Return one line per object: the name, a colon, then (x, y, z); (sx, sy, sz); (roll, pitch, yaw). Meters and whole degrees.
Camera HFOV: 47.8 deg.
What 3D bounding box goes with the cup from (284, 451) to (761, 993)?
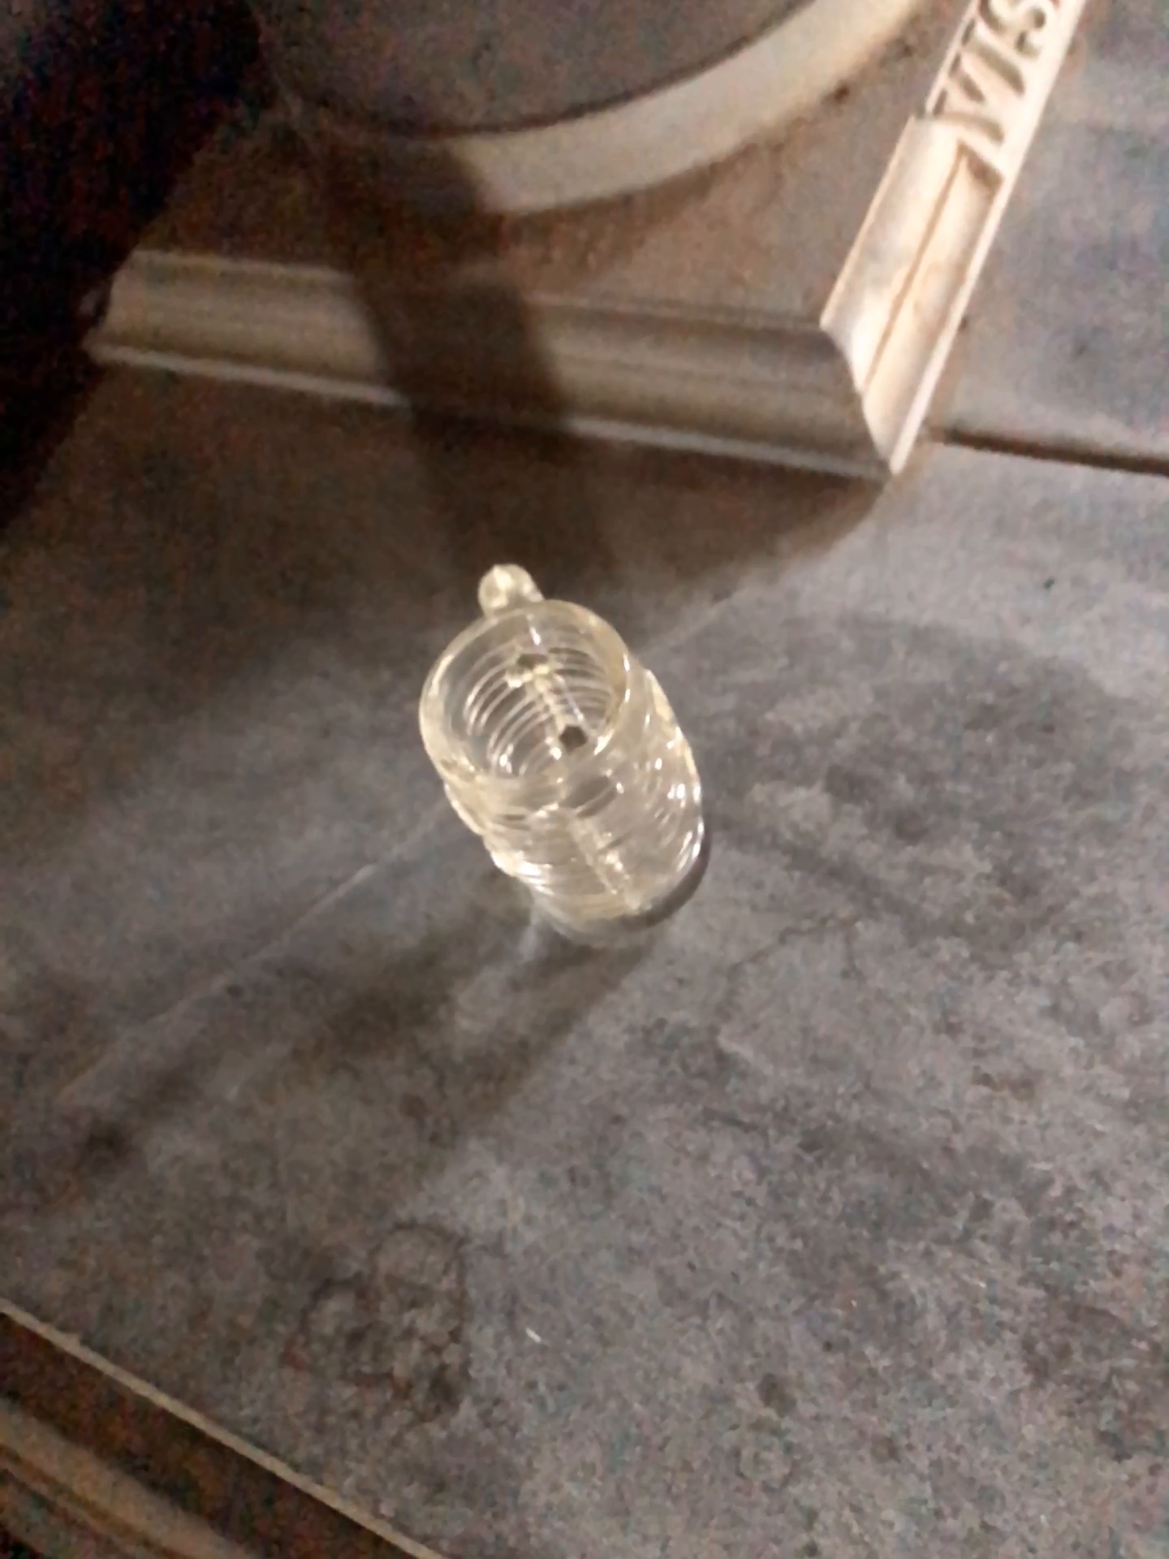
cup: (-0.009, -0.008, 0.212); (0.040, 0.050, 0.060); (-33, 59, 0)
